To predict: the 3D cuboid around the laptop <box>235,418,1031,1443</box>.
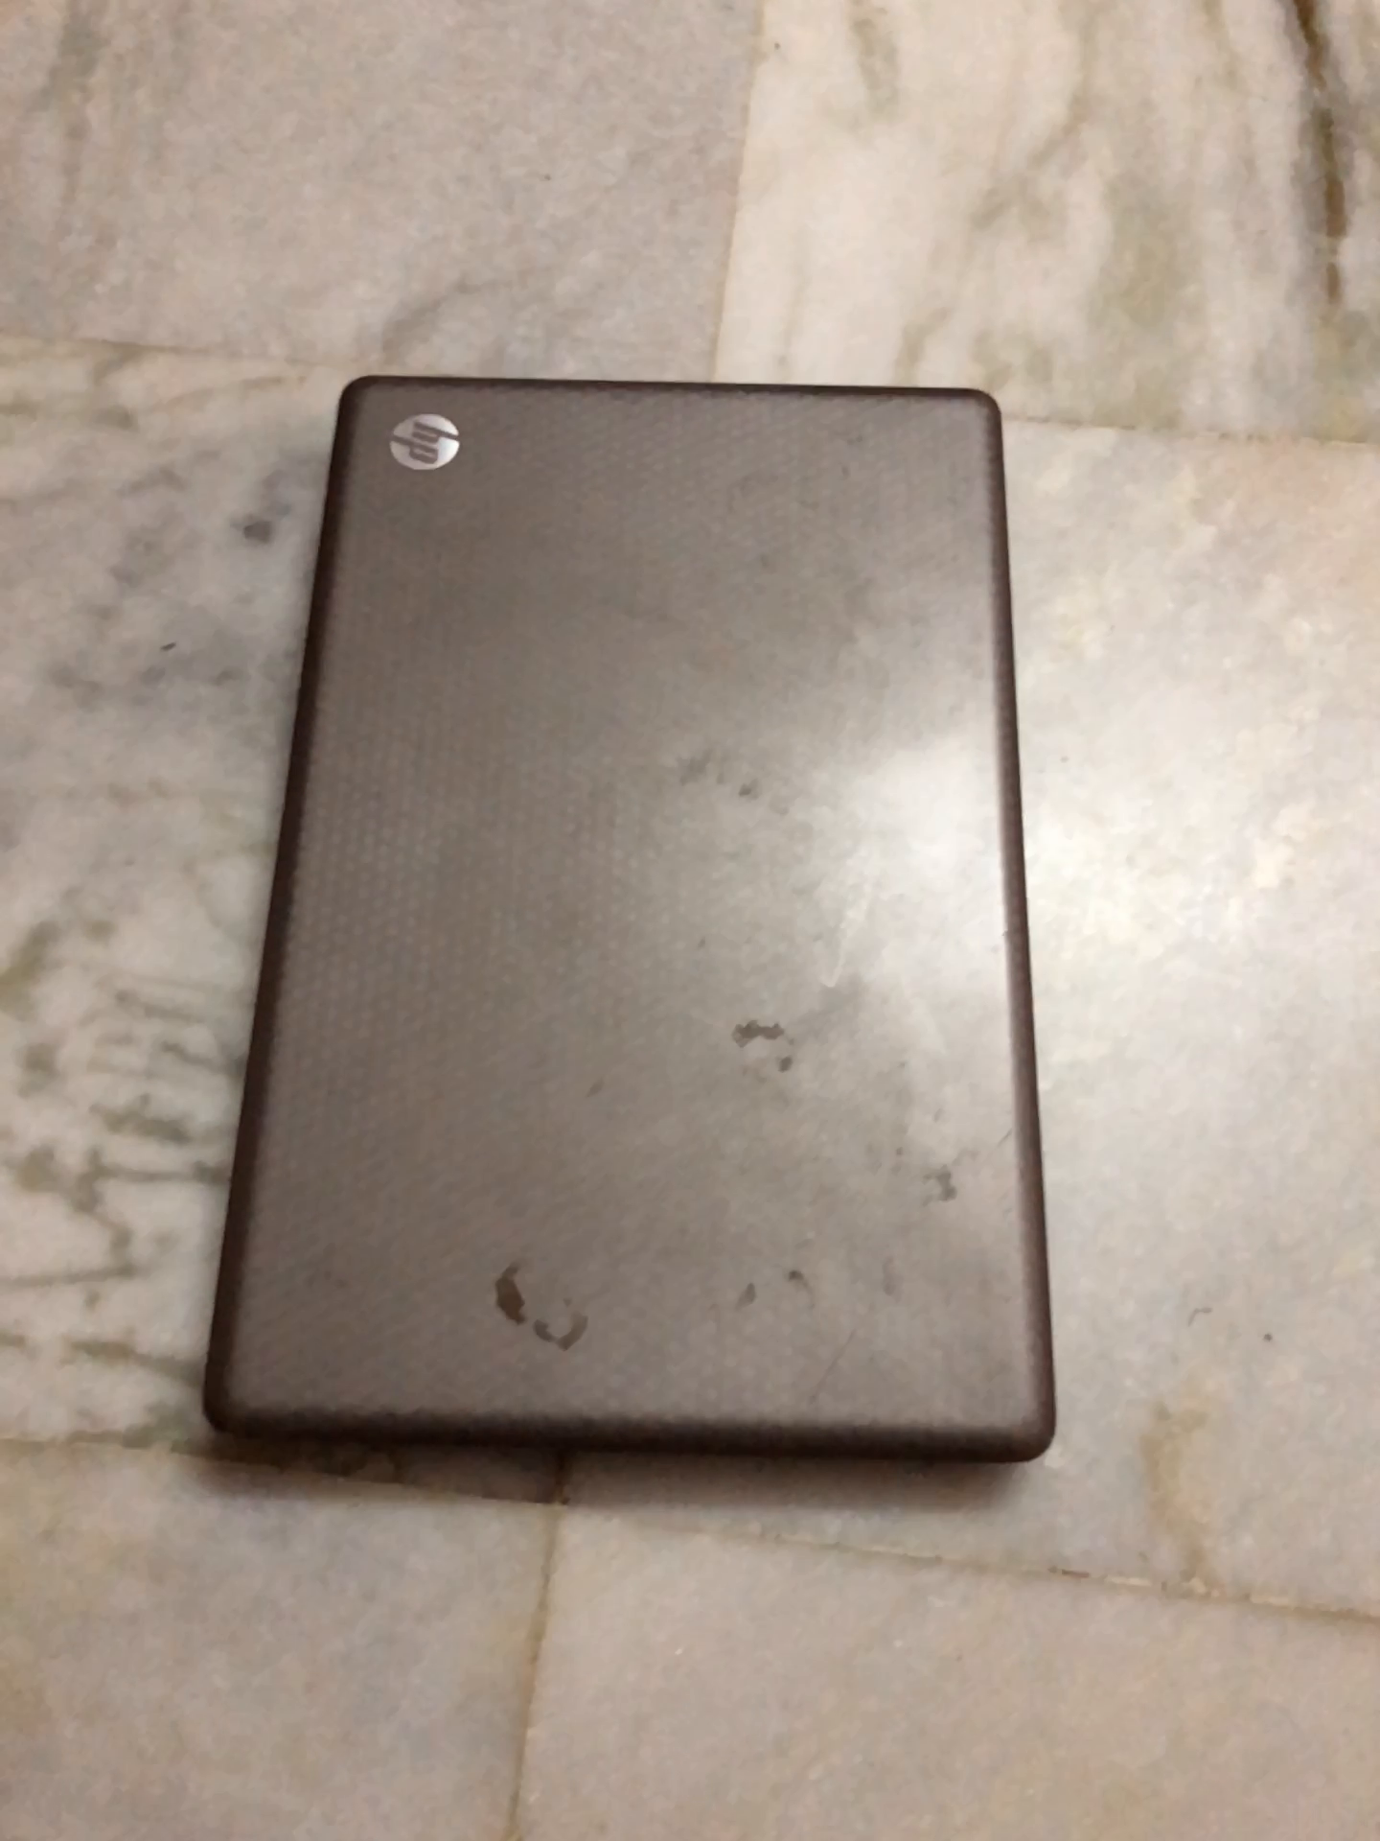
[{"bbox_3d":[-0.011,-0.019,0.540,0.248,0.002,0.379,2,70,1],"label":"laptop"}]
